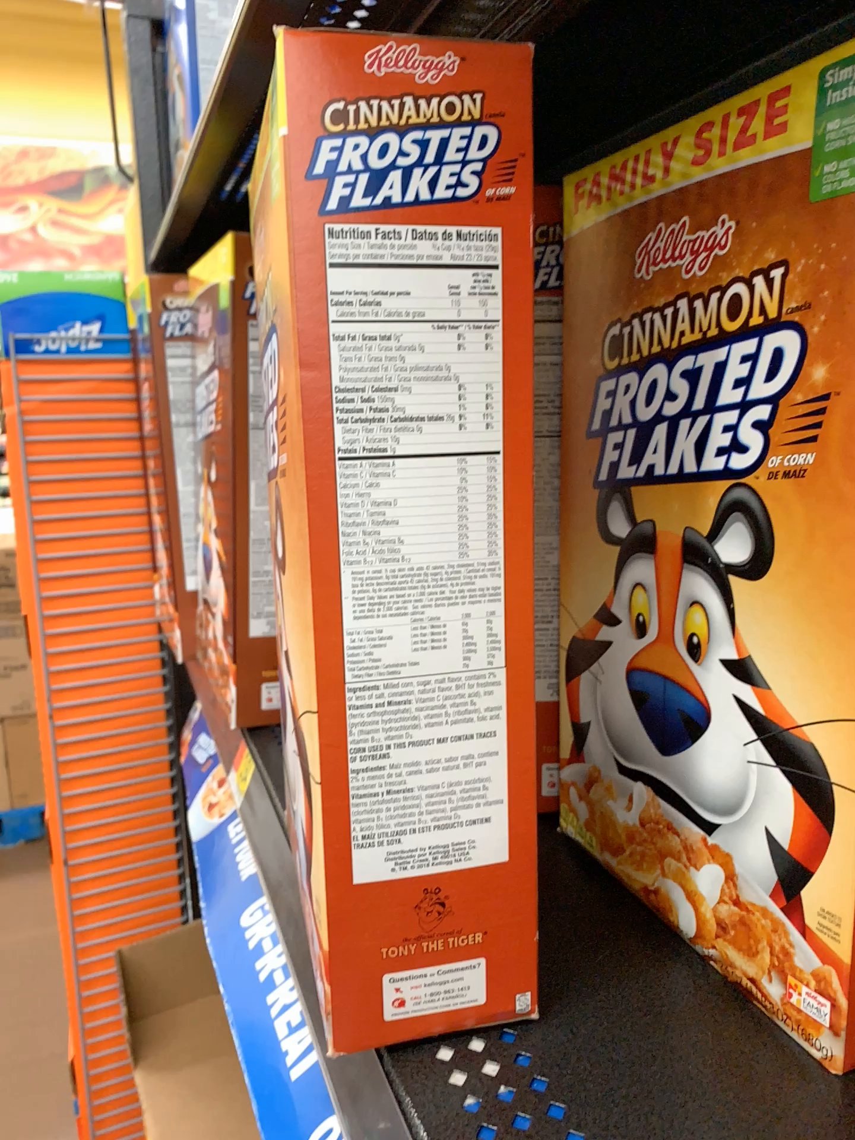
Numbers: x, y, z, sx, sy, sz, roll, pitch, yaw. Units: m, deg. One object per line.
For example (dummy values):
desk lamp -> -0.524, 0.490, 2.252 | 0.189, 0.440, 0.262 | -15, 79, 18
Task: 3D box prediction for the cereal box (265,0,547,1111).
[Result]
cereal box -> -0.021, -0.007, 0.375 | 0.070, 0.339, 0.211 | -3, 10, -12
